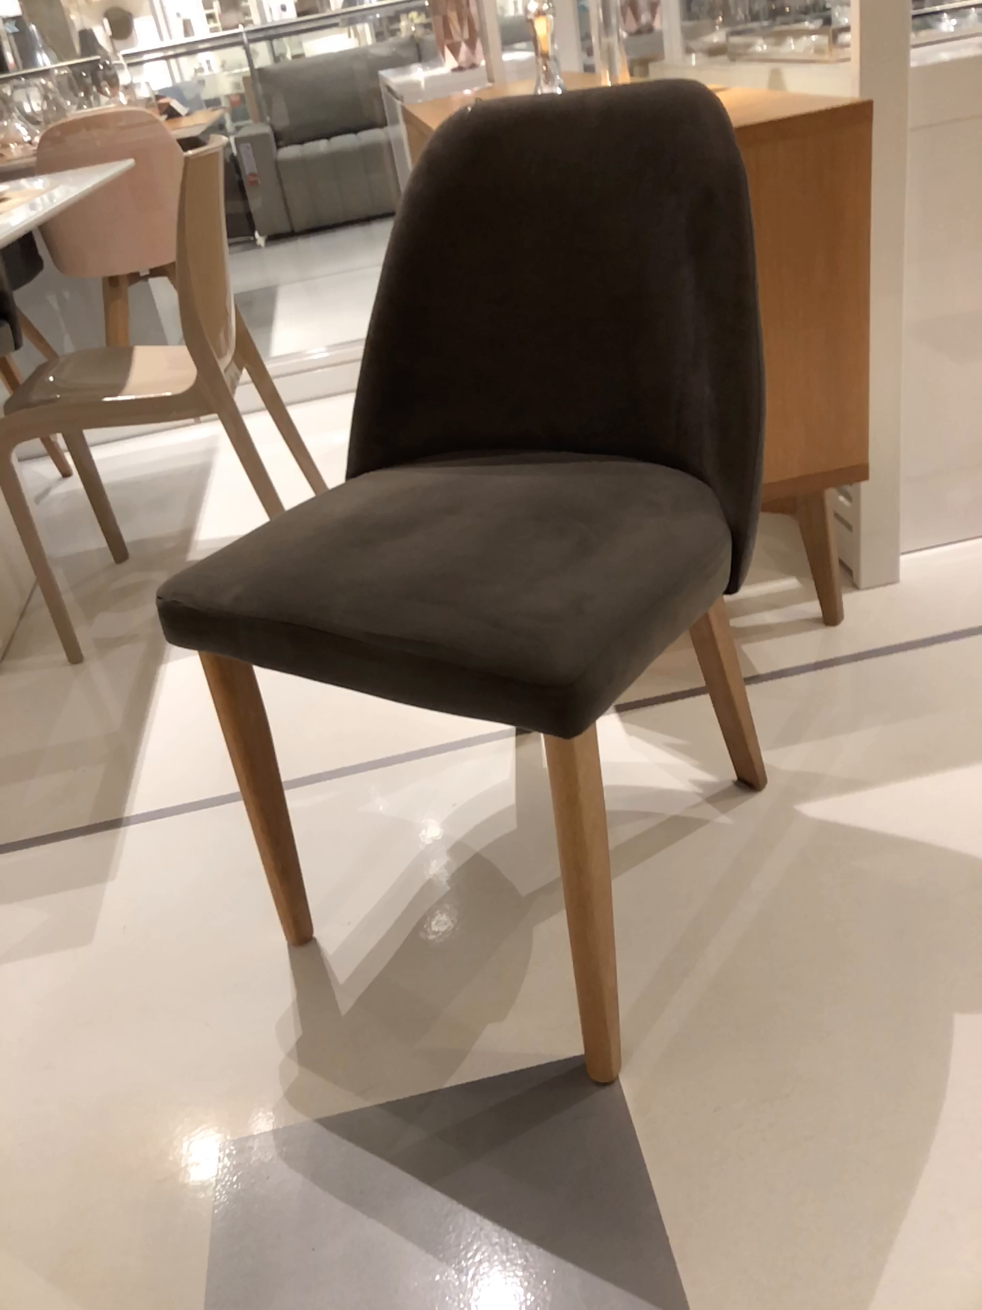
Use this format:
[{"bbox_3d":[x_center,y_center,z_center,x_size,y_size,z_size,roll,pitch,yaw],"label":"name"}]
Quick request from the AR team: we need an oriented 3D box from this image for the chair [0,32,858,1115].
[{"bbox_3d":[0.008,-0.115,1.090,0.531,0.774,0.563,11,36,34],"label":"chair"}]
